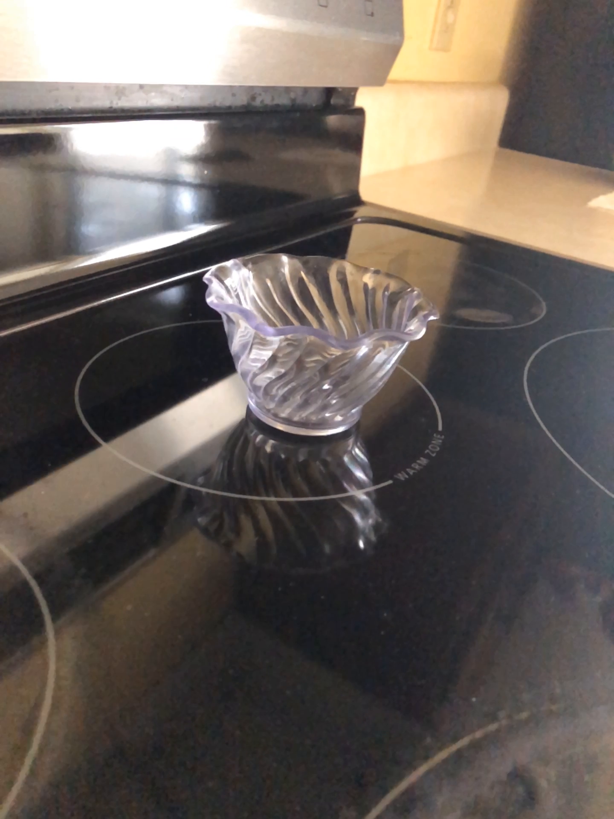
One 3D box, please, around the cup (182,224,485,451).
[{"bbox_3d":[0.001,-0.033,0.281,0.100,0.052,0.101,6,29,-3],"label":"cup"}]
